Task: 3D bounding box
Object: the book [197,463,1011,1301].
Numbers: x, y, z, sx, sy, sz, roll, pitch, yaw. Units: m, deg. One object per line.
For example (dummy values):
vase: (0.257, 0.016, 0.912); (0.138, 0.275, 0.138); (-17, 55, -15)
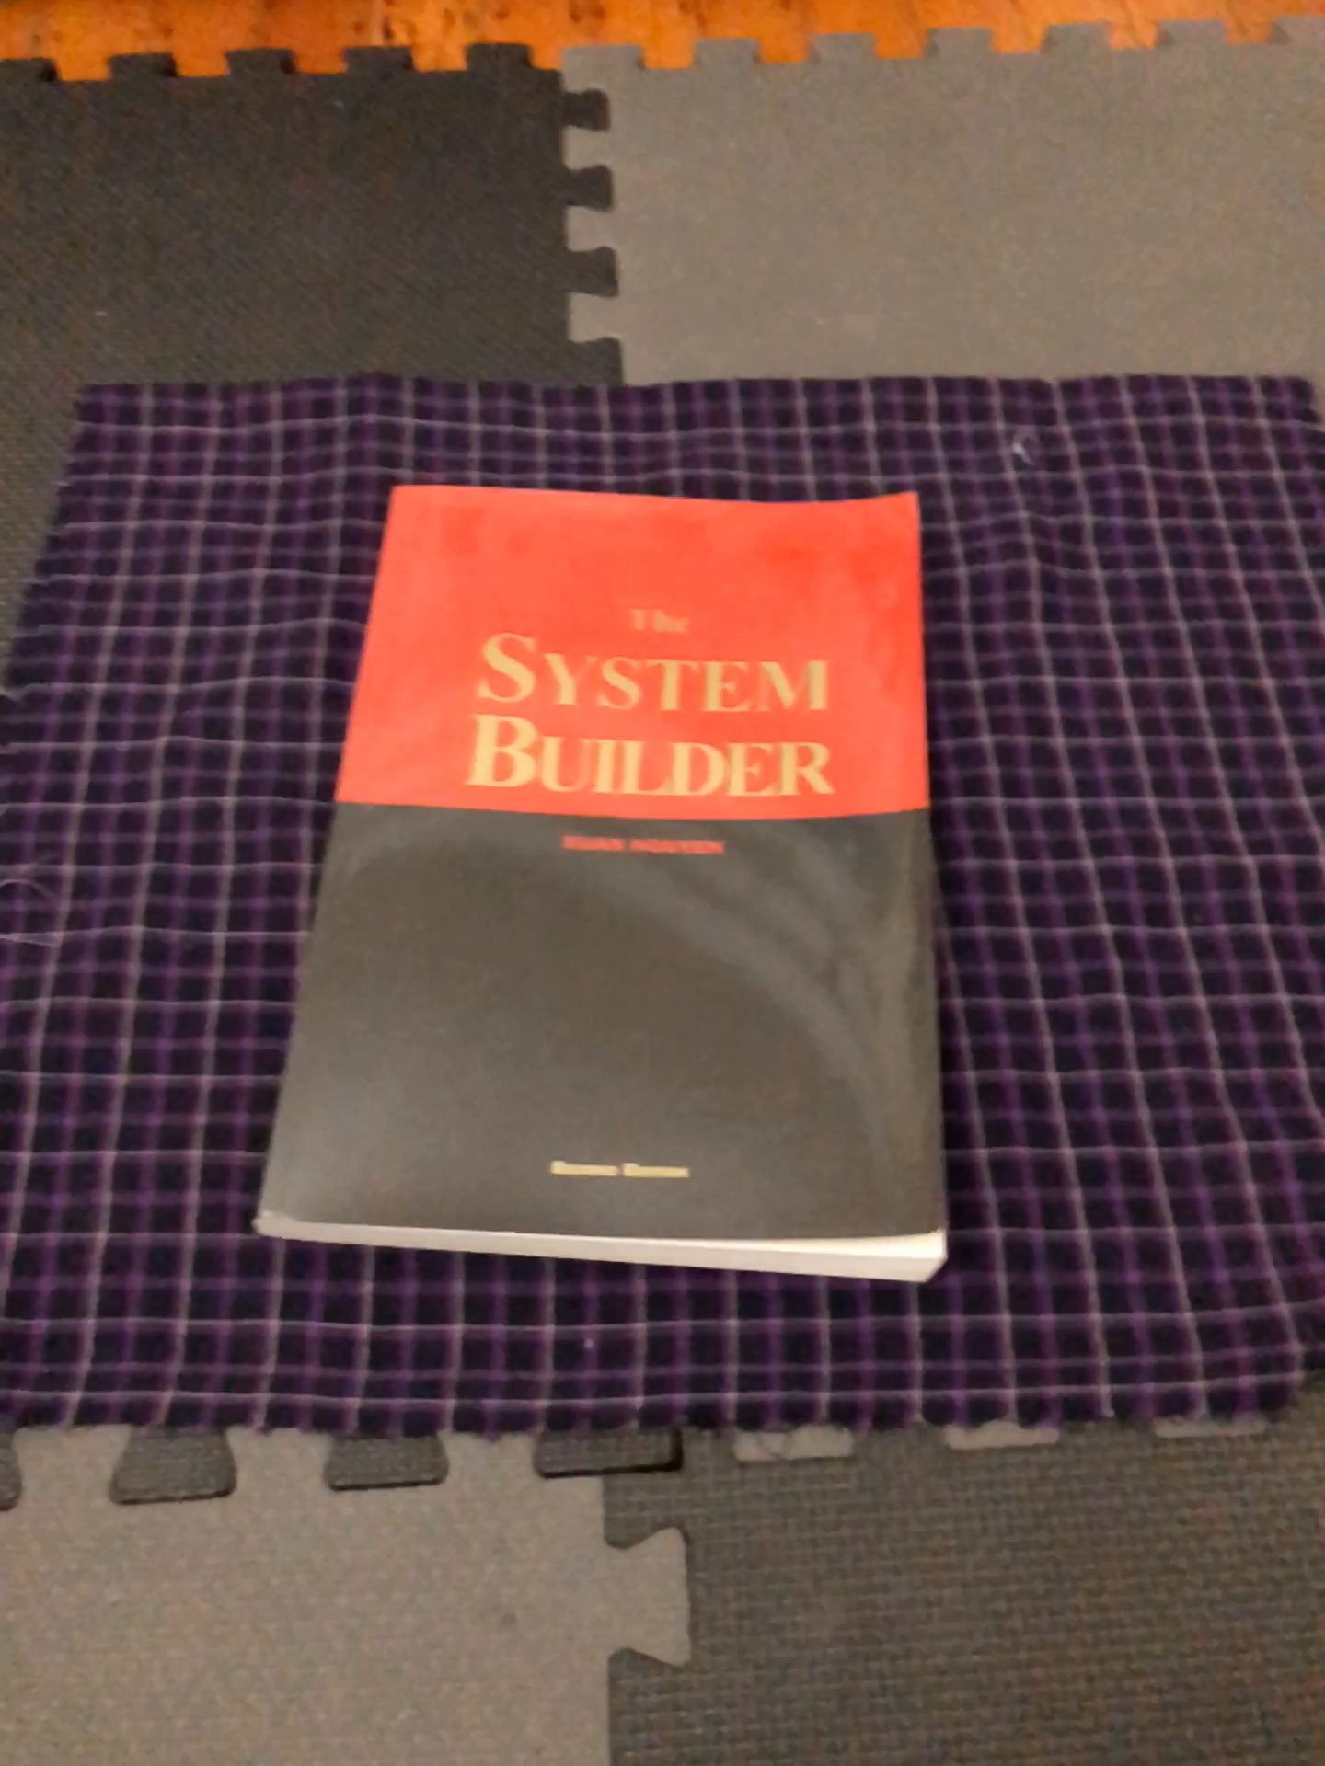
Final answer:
book: (-0.008, -0.016, 0.435); (0.200, 0.030, 0.261); (3, 60, 2)
